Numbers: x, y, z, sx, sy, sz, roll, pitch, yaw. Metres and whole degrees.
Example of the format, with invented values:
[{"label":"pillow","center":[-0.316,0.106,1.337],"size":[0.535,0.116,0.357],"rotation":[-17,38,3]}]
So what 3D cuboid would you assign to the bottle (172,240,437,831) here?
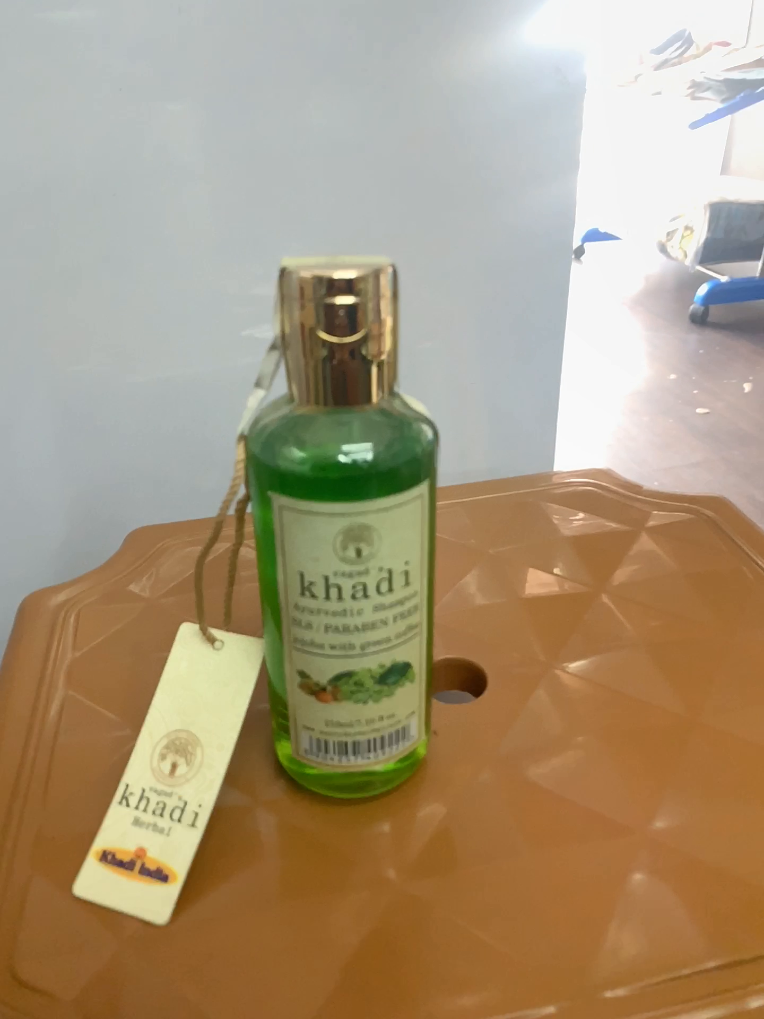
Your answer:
[{"label":"bottle","center":[-0.014,0.011,0.209],"size":[0.050,0.149,0.050],"rotation":[-2,28,1]}]
